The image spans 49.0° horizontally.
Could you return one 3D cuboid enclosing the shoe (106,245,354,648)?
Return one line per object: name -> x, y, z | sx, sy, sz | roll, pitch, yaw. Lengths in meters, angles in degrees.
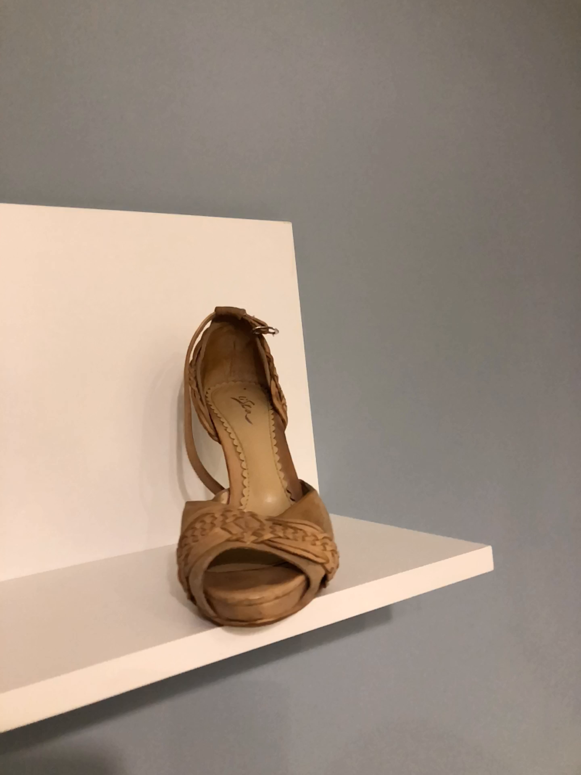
shoe -> -0.031, 0.029, 0.406 | 0.100, 0.180, 0.210 | -6, -2, -1
